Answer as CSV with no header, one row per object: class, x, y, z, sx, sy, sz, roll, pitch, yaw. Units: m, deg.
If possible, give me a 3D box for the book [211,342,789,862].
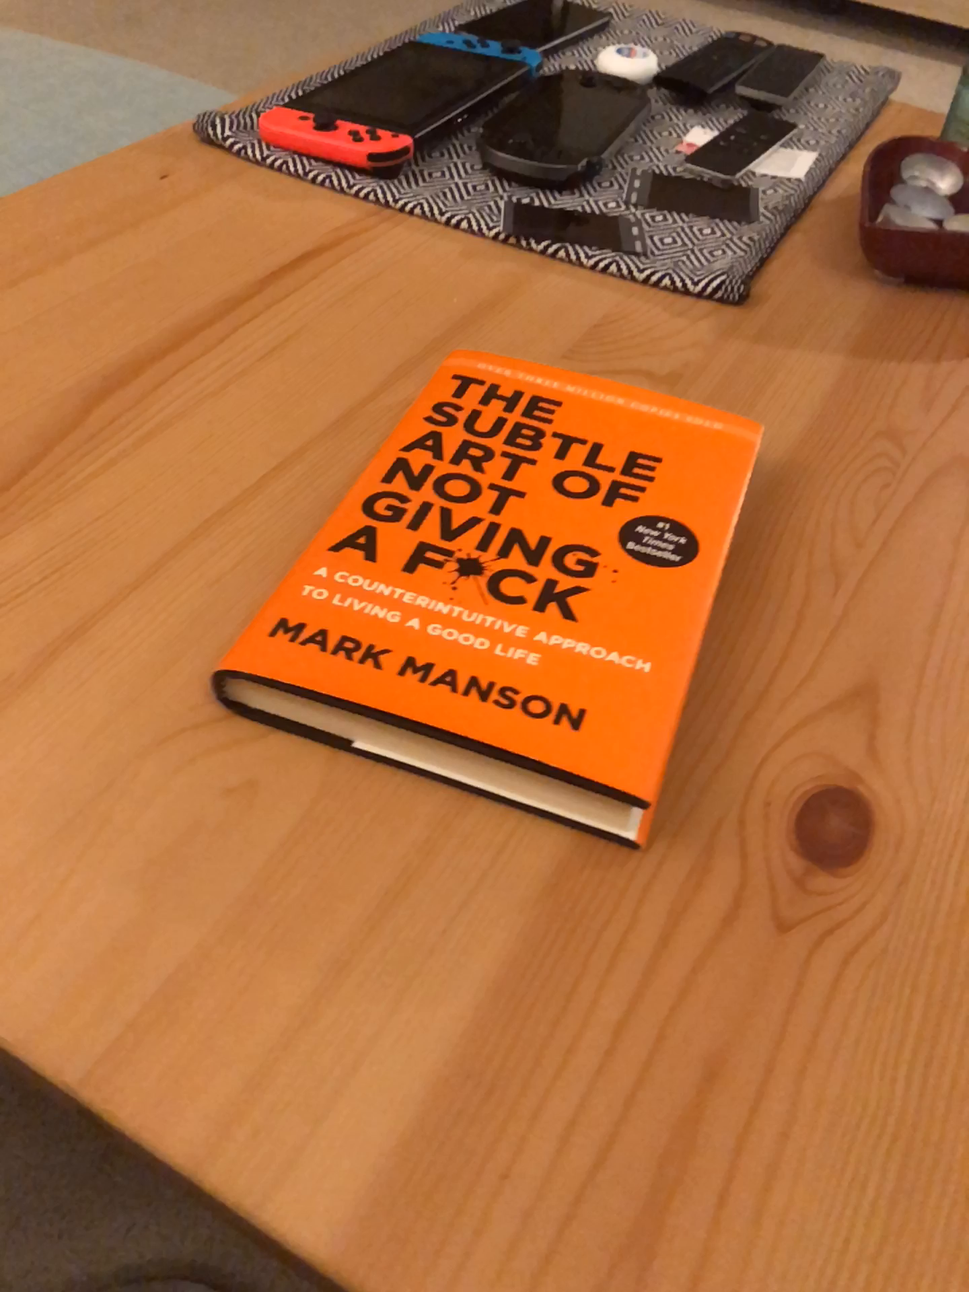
book,0.020,-0.037,0.429,0.160,0.030,0.221,17,48,12
